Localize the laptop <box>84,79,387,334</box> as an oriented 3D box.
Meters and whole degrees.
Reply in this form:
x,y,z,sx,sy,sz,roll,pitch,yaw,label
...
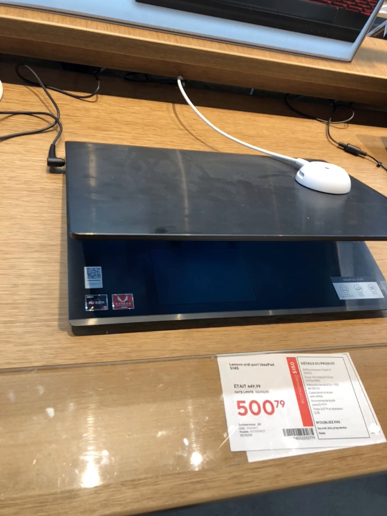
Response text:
x,y,z,sx,sy,sz,roll,pitch,yaw,label
0.064,-0.058,0.436,0.331,0.083,0.224,-1,54,-21,laptop
